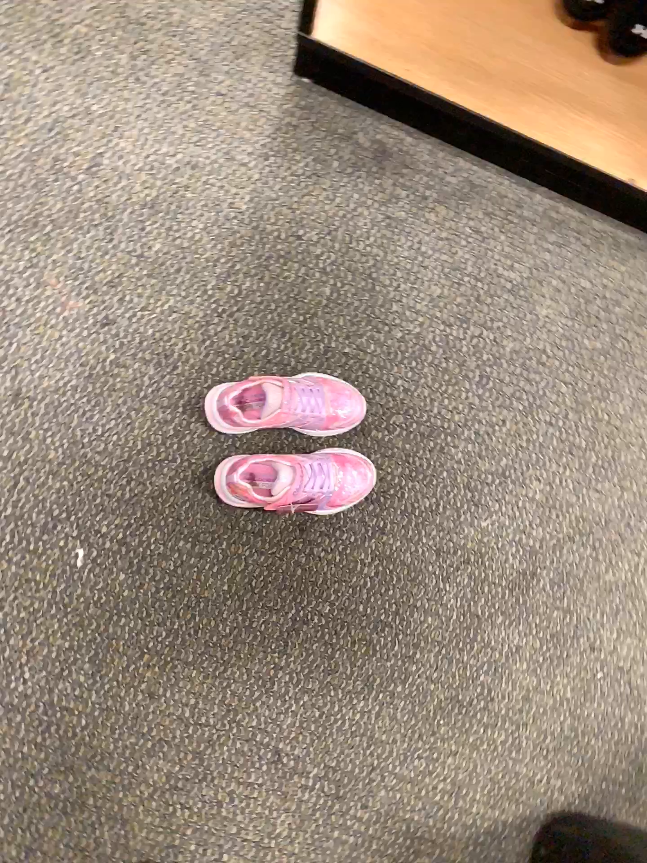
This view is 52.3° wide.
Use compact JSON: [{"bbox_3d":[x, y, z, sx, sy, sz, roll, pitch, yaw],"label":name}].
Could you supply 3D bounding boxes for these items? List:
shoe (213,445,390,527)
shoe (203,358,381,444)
[{"bbox_3d":[-0.032,0.067,0.807,0.200,0.110,0.086,-1,84,-9],"label":"shoe"},{"bbox_3d":[-0.042,-0.035,0.801,0.200,0.110,0.086,-1,84,-9],"label":"shoe"}]
